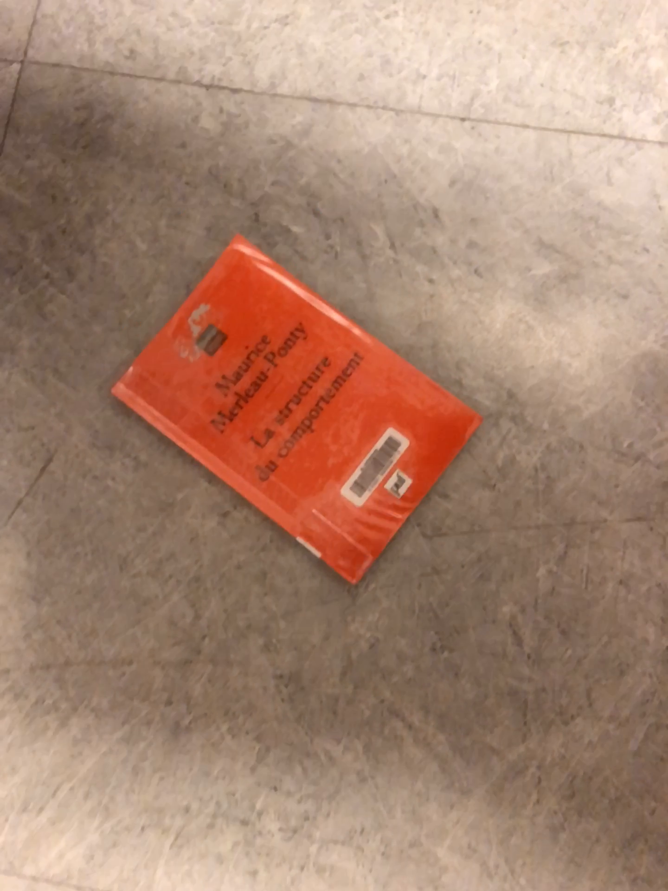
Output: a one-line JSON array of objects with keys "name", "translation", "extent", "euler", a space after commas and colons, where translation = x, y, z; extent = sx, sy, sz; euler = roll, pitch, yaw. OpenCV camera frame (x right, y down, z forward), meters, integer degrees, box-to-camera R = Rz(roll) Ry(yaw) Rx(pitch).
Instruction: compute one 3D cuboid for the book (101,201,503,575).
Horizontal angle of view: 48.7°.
[{"name": "book", "translation": [-0.020, -0.038, 0.451], "extent": [0.200, 0.020, 0.135], "euler": [38, 83, 7]}]
